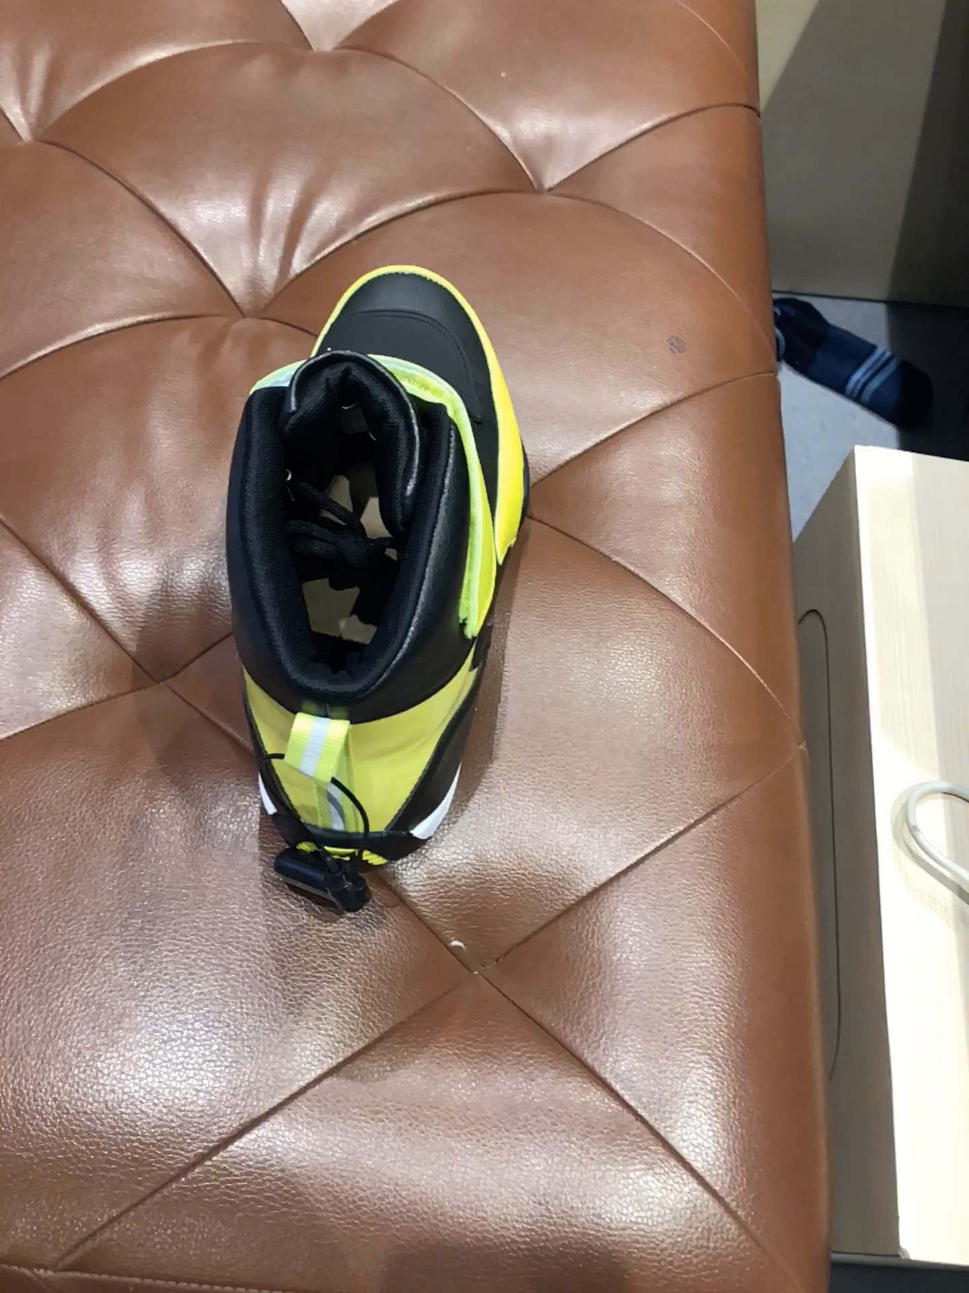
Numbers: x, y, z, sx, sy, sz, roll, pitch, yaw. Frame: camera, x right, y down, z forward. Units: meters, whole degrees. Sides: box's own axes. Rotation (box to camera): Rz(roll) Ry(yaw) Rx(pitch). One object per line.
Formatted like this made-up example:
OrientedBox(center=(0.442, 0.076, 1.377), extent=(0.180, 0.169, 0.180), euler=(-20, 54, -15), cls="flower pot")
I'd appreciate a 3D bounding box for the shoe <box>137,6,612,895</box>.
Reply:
OrientedBox(center=(-0.029, -0.068, 0.404), extent=(0.116, 0.172, 0.275), euler=(4, 61, -3), cls="shoe")
